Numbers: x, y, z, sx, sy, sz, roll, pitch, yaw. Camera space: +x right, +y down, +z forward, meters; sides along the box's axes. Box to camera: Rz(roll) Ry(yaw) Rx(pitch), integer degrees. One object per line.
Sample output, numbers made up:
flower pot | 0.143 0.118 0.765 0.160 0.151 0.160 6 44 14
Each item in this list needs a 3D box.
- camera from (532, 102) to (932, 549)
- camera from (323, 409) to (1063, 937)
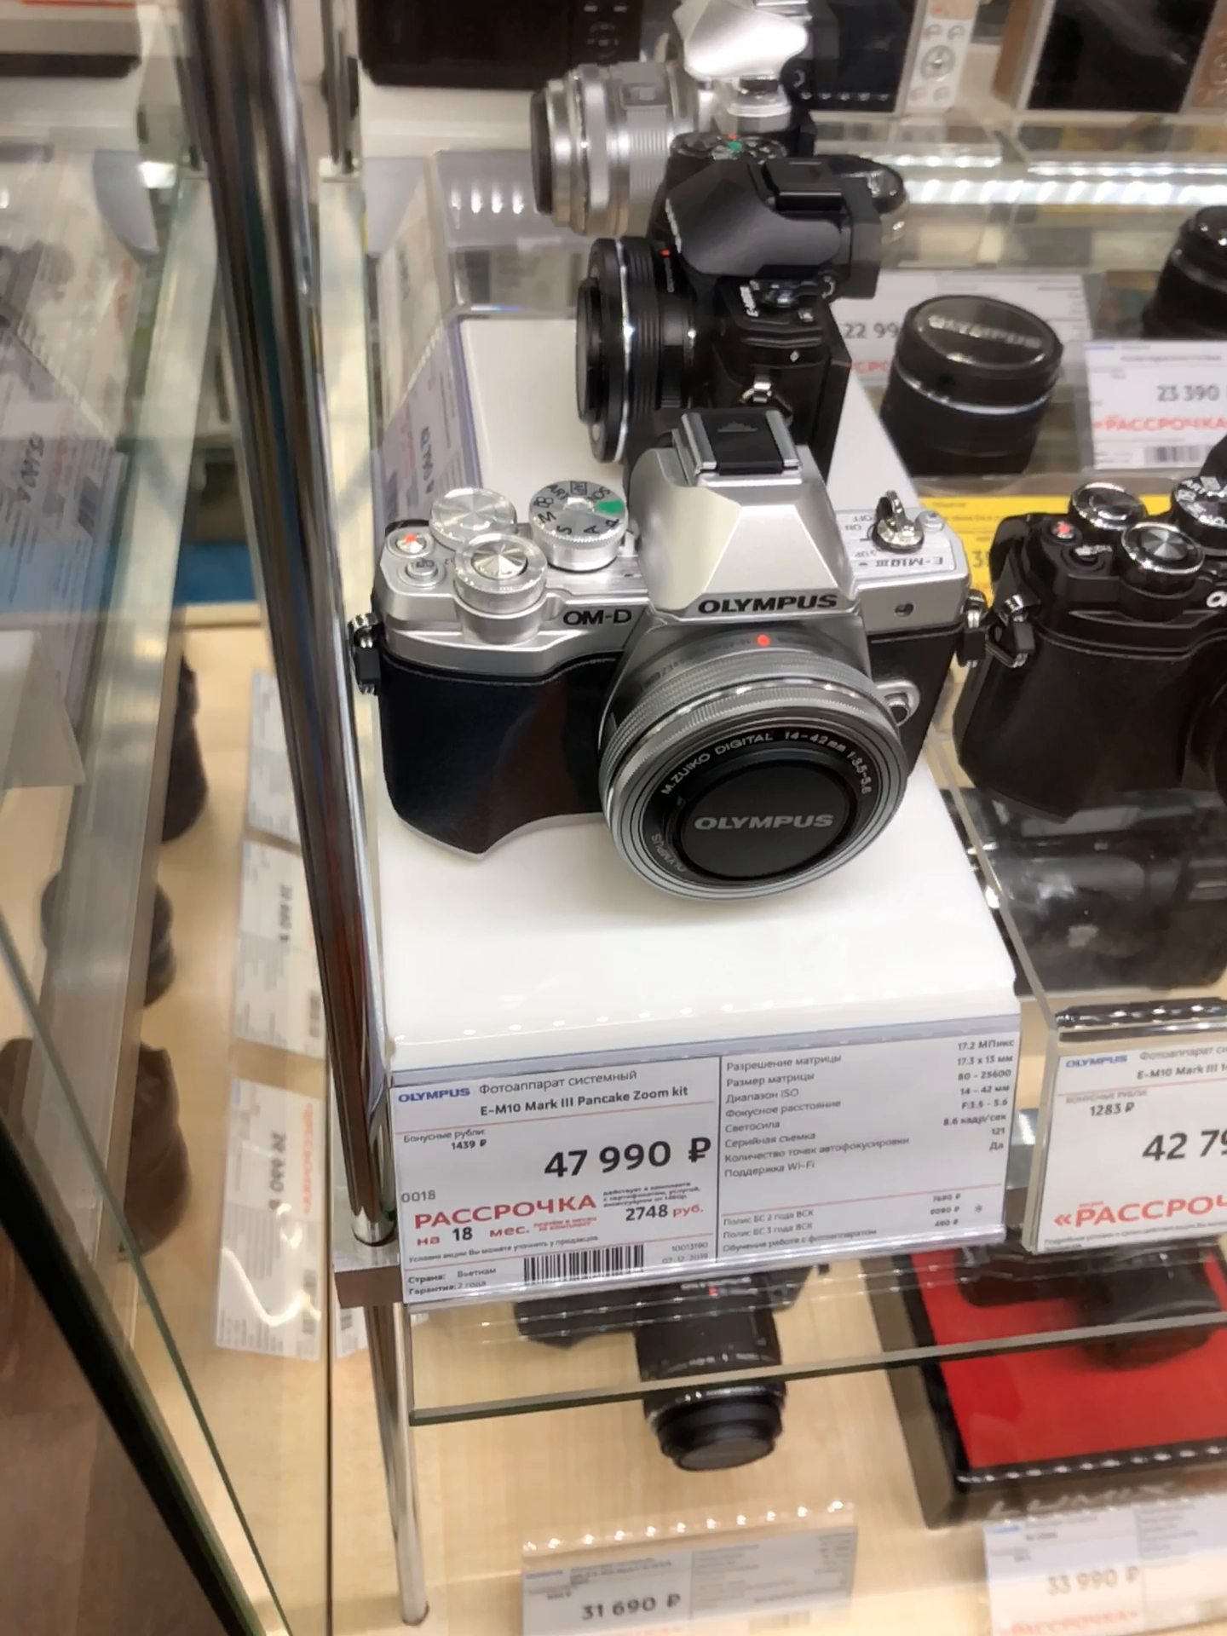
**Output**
camera | 0.023 -0.133 0.363 0.078 0.068 0.109 -2 47 -9
camera | 0.008 -0.031 0.270 0.122 0.067 0.073 -4 47 -10
